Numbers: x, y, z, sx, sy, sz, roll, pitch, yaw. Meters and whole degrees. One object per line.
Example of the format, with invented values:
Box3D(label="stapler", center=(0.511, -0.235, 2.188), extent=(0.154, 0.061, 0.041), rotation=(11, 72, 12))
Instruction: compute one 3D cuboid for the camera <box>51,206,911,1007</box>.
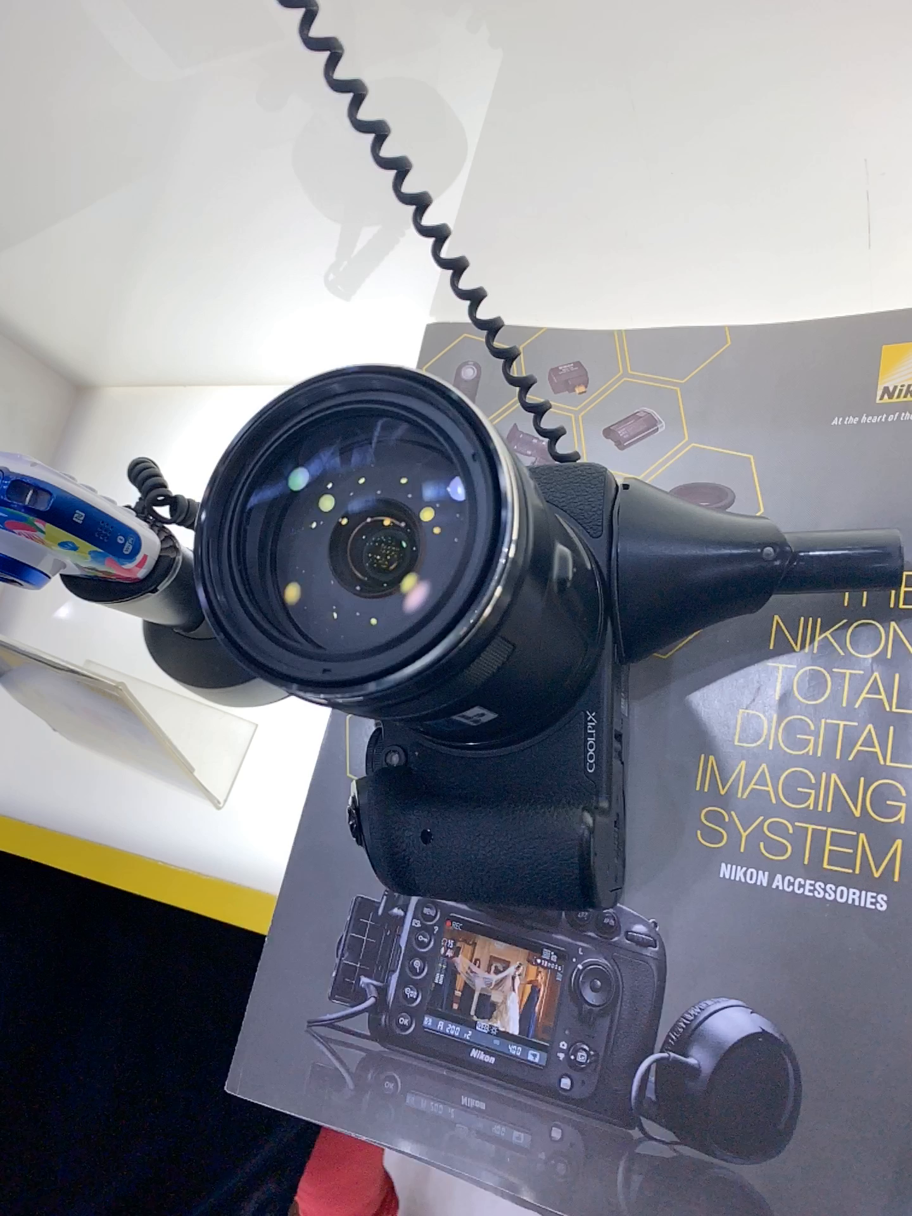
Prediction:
Box3D(label="camera", center=(0.035, 0.005, 0.228), extent=(0.200, 0.100, 0.140), rotation=(1, 71, 16))
